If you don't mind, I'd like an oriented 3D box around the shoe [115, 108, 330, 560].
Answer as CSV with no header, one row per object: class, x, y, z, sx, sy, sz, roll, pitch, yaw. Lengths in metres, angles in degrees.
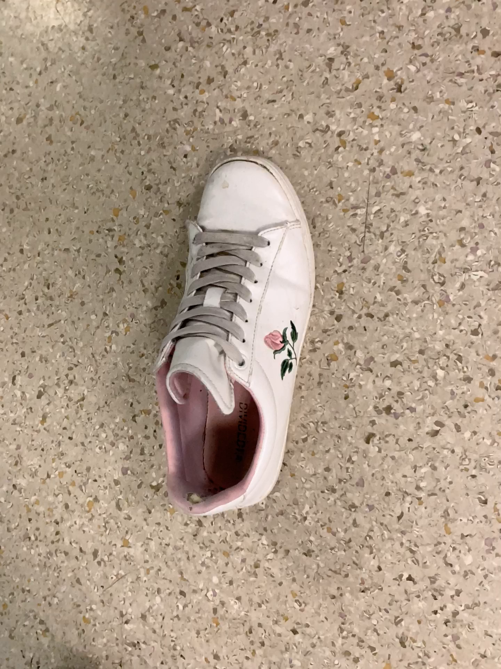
shoe,-0.014,-0.003,0.349,0.098,0.093,0.255,5,92,18
